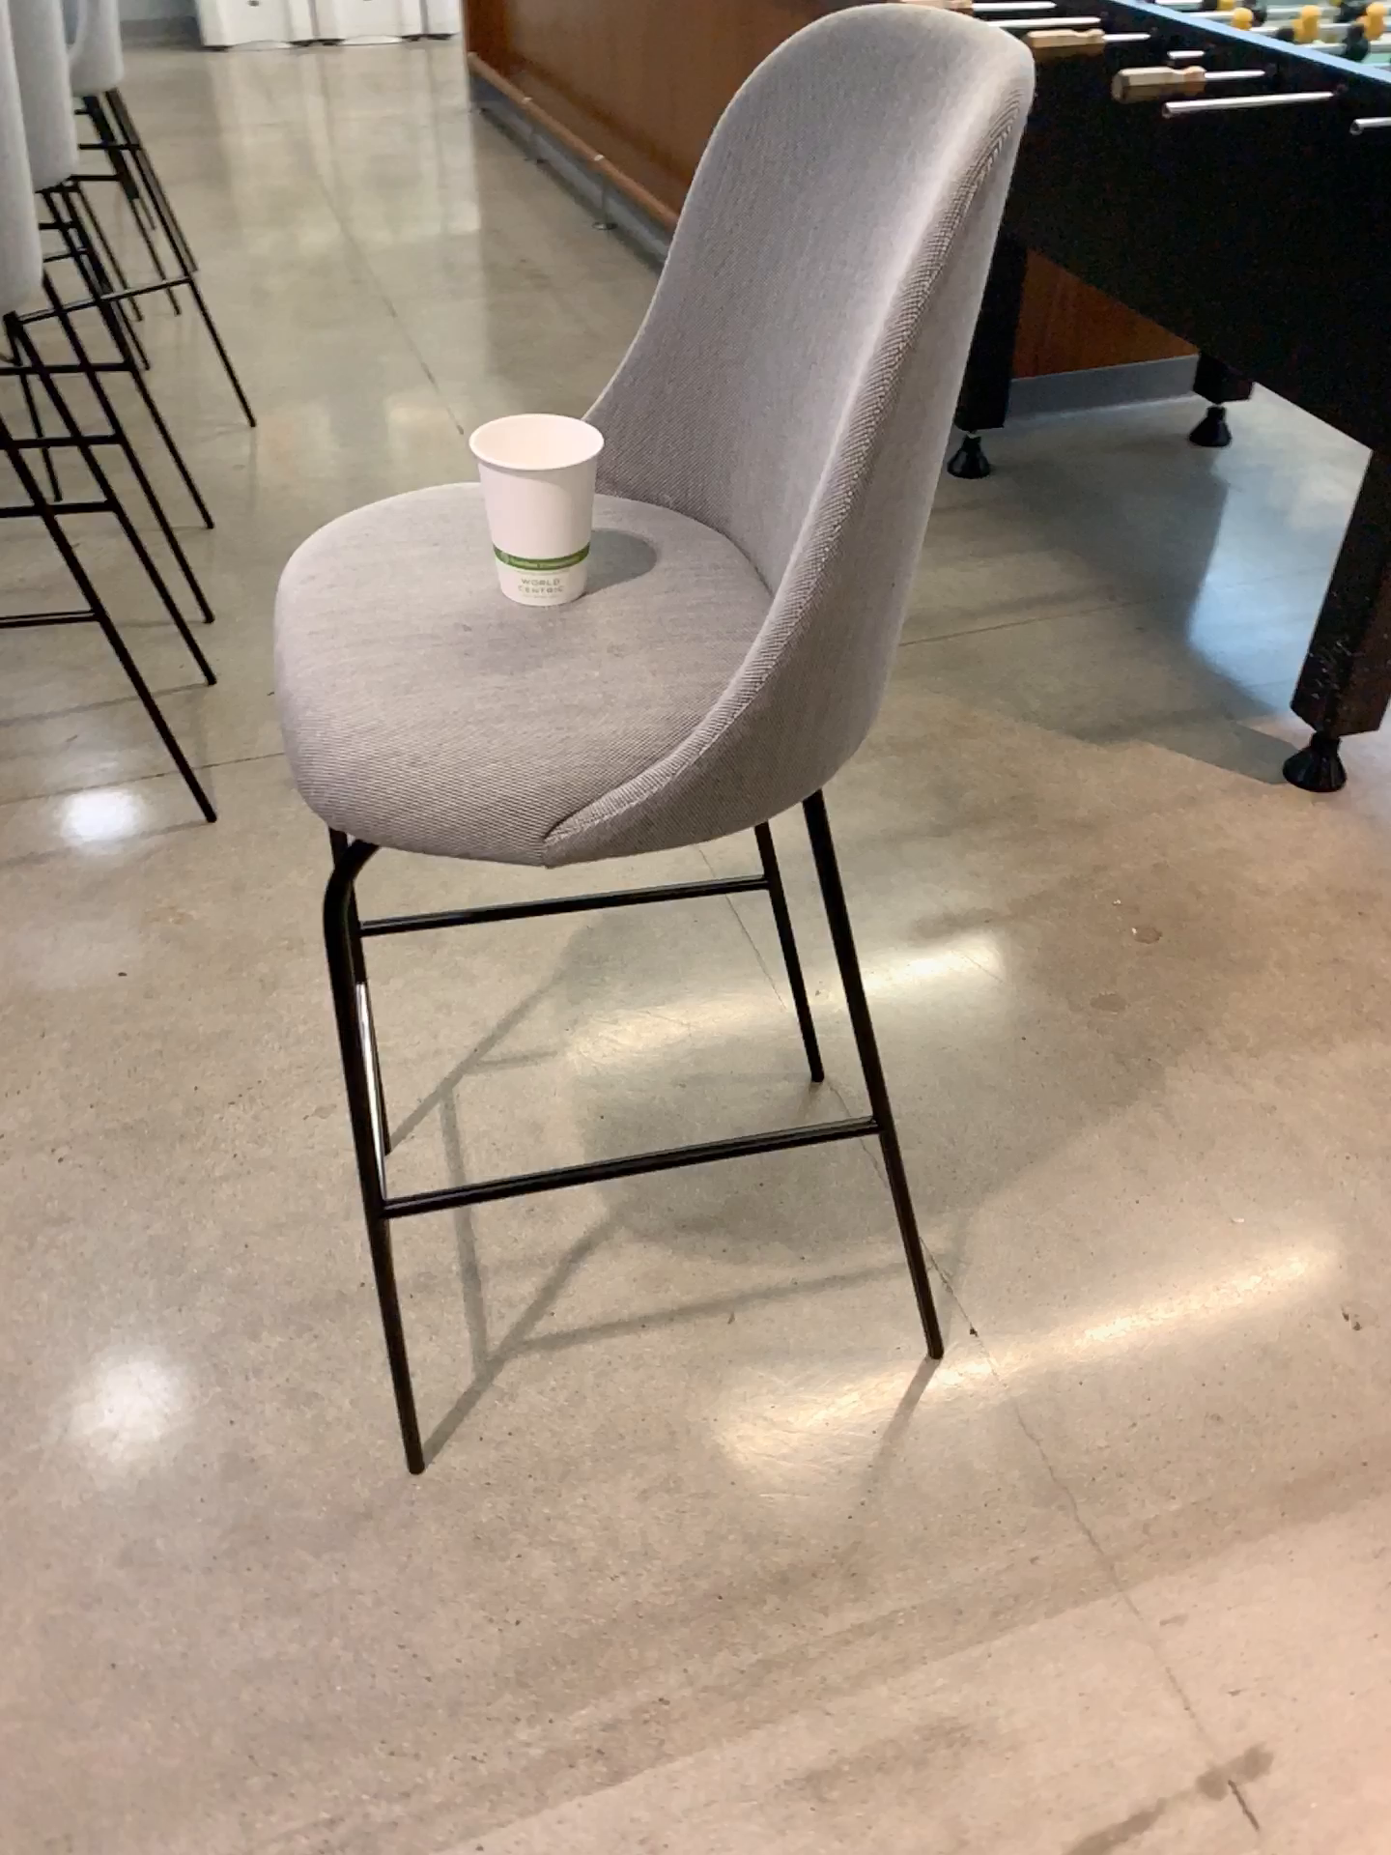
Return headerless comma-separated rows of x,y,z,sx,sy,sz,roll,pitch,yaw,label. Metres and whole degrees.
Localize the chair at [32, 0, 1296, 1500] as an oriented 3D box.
-0.047,-0.090,1.138,0.570,1.053,0.473,-9,41,-10,chair
